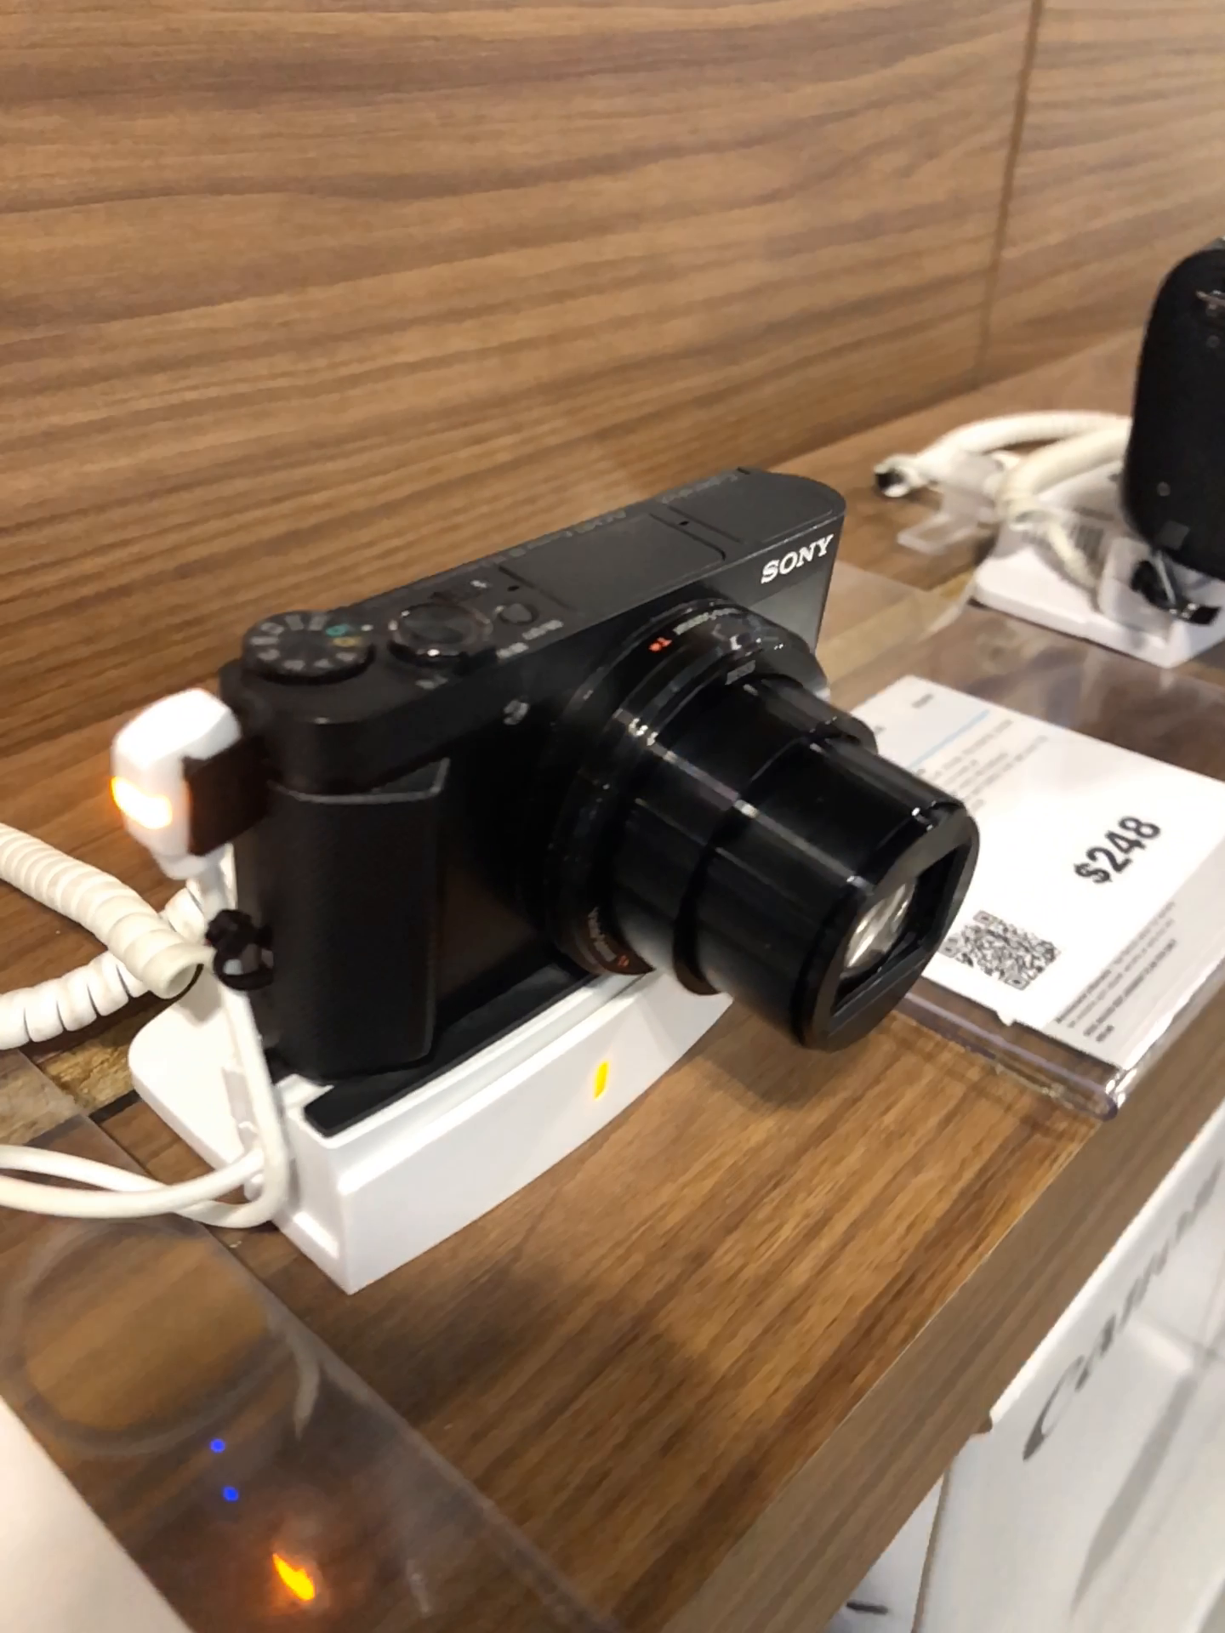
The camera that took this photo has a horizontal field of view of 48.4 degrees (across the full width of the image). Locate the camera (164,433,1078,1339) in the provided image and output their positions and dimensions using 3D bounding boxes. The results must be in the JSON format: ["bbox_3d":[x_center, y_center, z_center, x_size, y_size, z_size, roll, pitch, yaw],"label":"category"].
[{"bbox_3d":[0.006,-0.001,0.184,0.060,0.070,0.100,25,39,35],"label":"camera"}]
